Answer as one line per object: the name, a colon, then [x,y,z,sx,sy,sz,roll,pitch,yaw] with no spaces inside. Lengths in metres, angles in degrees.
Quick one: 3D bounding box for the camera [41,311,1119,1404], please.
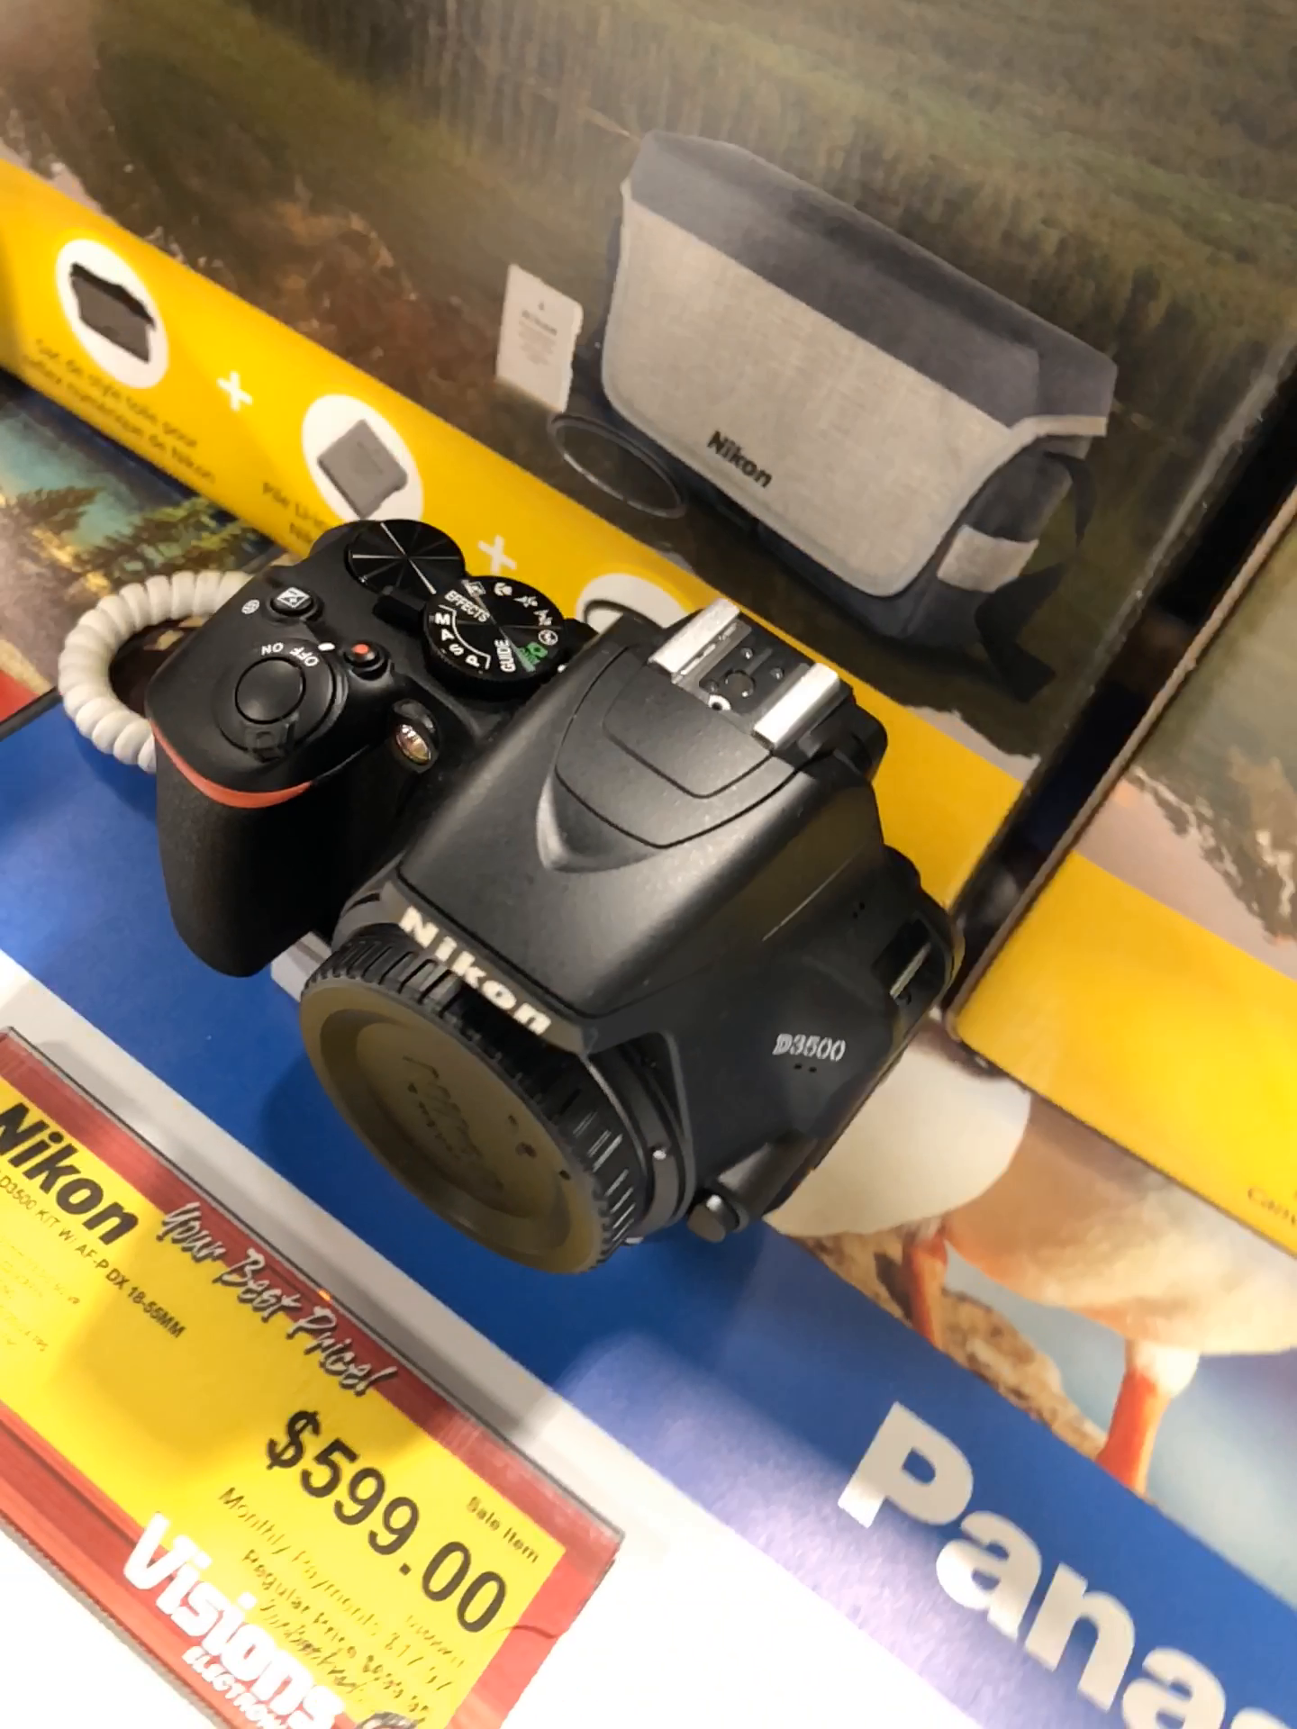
camera: [-0.016,-0.001,0.229,0.120,0.099,0.080,36,53,14]
